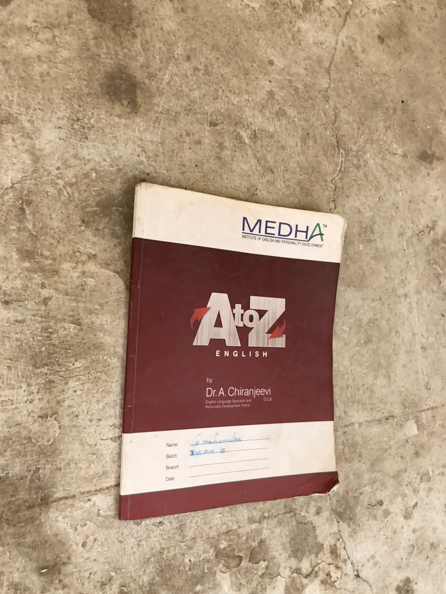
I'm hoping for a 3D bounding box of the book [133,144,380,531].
[{"bbox_3d":[0.039,0.032,0.424,0.221,0.030,0.280,4,83,-28],"label":"book"}]
